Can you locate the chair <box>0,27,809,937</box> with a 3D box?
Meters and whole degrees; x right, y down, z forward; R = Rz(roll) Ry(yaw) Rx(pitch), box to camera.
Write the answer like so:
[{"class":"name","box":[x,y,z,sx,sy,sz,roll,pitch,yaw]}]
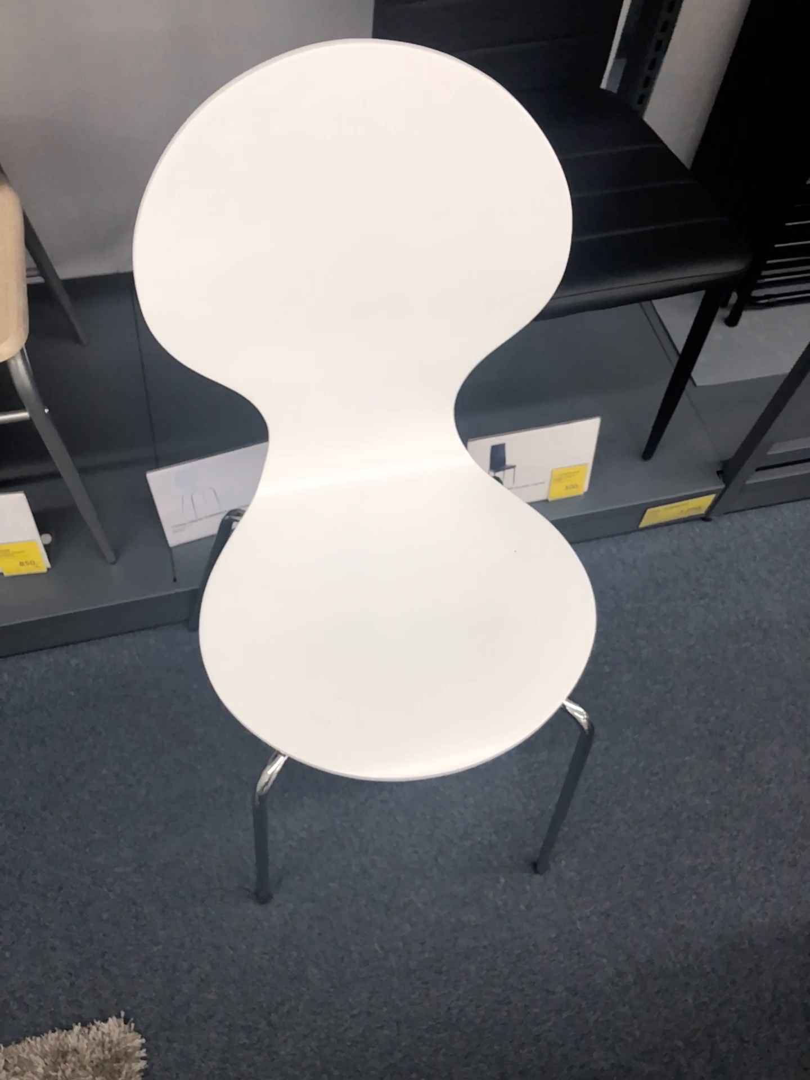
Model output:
[{"class":"chair","box":[-0.031,0.043,0.984,0.560,0.898,0.541,-6,61,-9]}]
